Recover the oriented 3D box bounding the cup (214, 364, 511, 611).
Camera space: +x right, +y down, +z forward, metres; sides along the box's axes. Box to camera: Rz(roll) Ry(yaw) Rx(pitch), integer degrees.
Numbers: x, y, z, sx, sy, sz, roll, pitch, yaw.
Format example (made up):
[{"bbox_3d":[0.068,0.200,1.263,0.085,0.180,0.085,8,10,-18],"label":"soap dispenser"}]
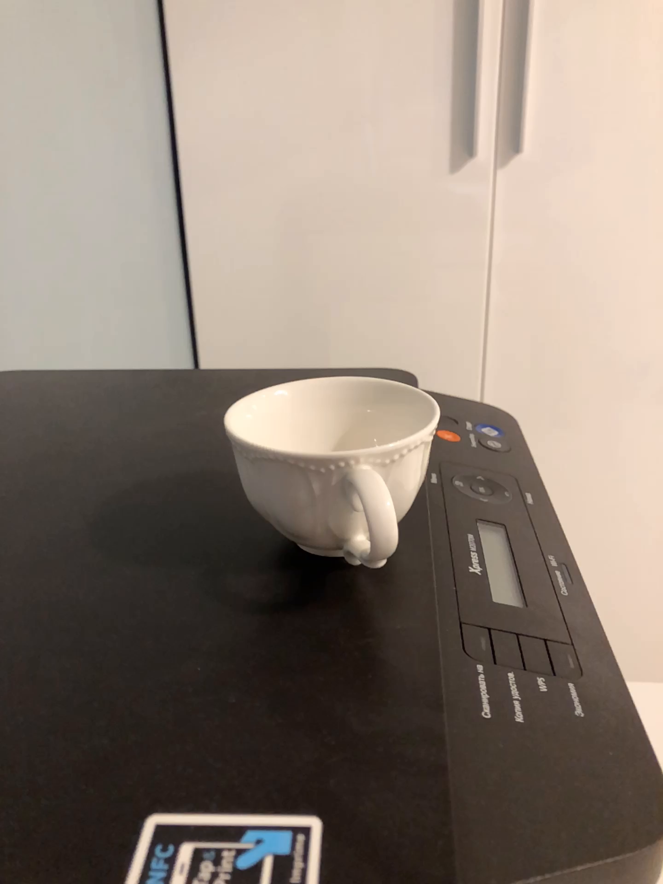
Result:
[{"bbox_3d":[0.005,0.008,0.260,0.076,0.044,0.094,-8,21,-15],"label":"cup"}]
